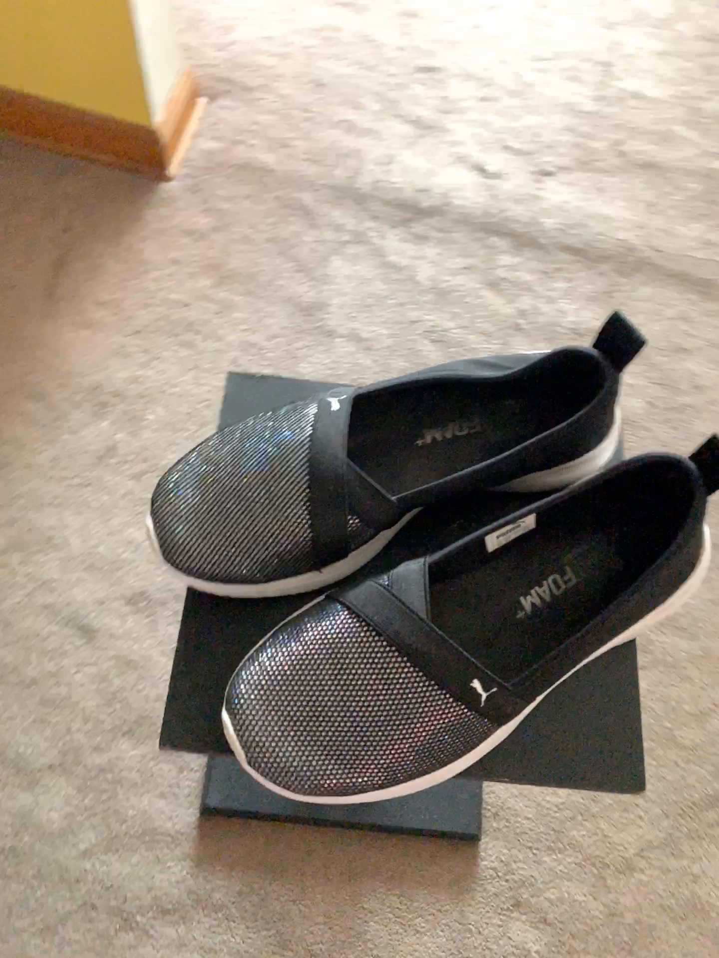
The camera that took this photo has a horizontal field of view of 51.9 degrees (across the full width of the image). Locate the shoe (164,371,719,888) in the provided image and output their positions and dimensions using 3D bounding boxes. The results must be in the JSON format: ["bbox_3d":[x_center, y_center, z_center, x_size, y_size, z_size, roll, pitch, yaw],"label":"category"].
[{"bbox_3d":[0.057,0.066,0.340,0.260,0.080,0.090,-30,72,-3],"label":"shoe"}]

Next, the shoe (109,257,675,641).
[{"bbox_3d":[0.014,-0.011,0.372,0.240,0.080,0.090,-21,70,-3],"label":"shoe"}]
